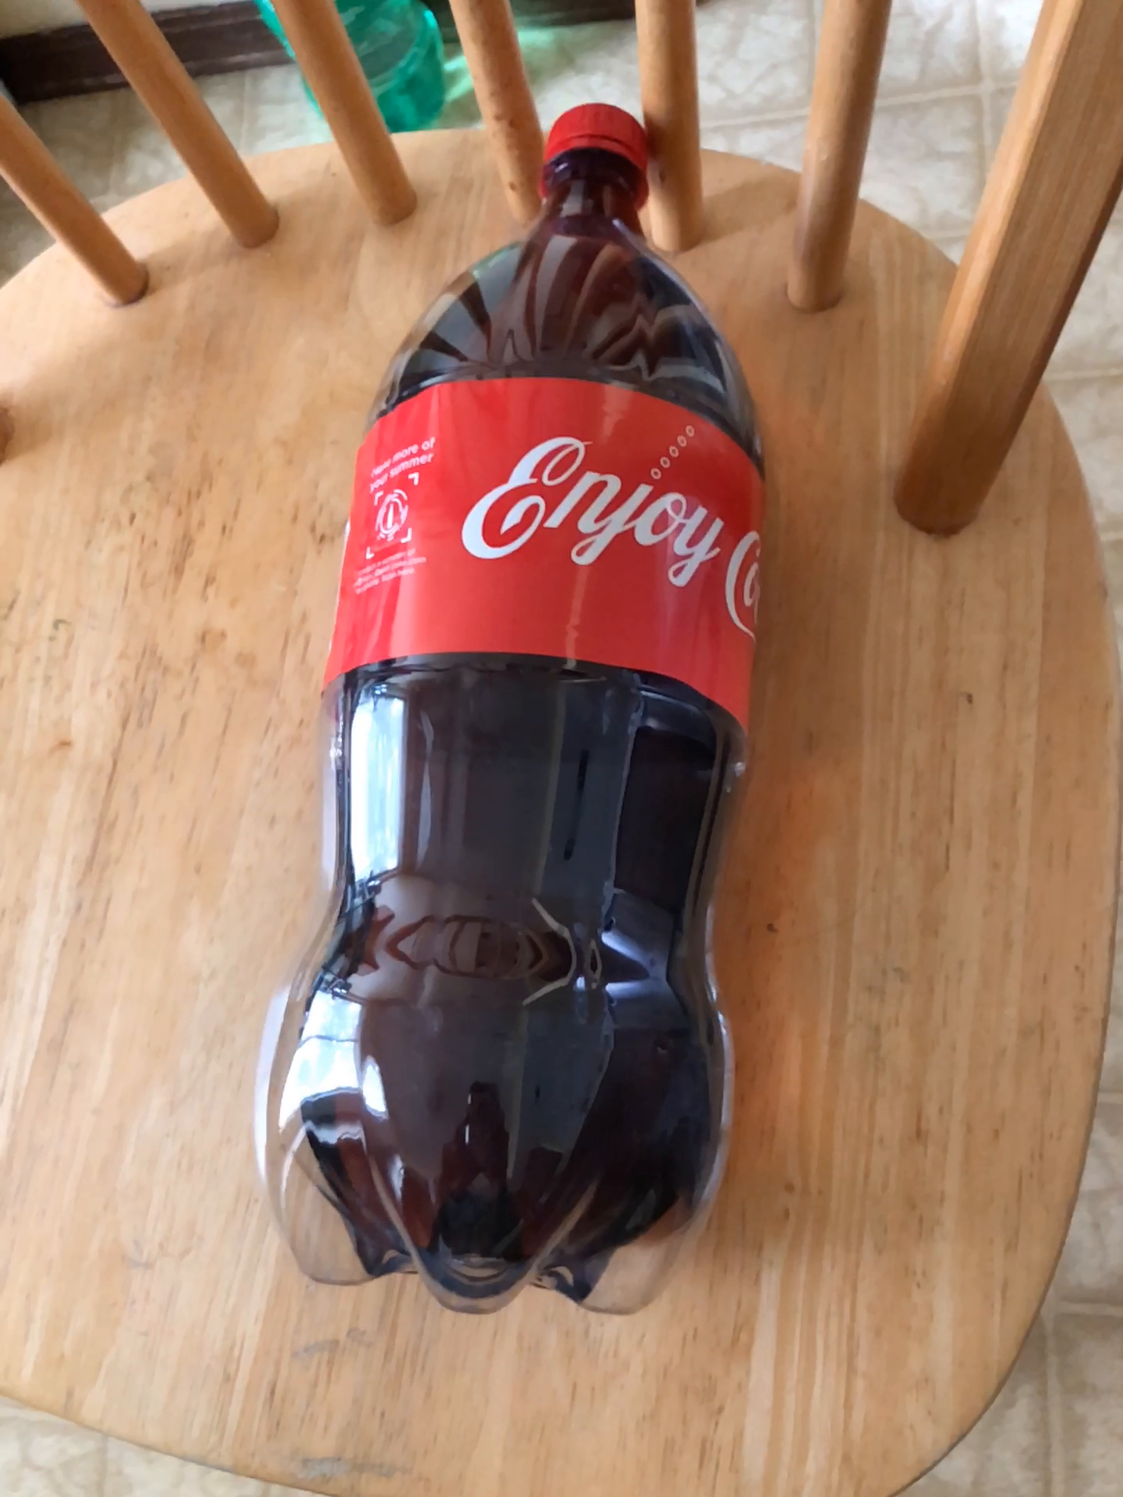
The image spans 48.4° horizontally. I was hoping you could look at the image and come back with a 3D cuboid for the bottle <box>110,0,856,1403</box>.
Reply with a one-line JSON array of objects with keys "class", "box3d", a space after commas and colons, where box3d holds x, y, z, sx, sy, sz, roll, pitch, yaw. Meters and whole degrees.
[{"class": "bottle", "box3d": [-0.008, -0.030, 0.313, 0.100, 0.120, 0.320, -10, 70, 47]}]
